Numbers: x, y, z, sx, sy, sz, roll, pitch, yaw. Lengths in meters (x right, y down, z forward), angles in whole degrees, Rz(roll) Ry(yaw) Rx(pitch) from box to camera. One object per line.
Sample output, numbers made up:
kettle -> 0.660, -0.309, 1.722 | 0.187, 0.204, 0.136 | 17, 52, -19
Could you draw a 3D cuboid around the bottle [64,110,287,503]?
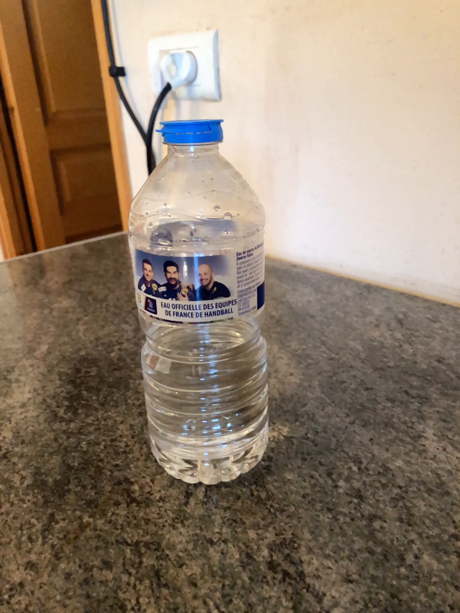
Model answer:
bottle -> -0.015, -0.002, 0.248 | 0.070, 0.169, 0.070 | -3, 21, 1
